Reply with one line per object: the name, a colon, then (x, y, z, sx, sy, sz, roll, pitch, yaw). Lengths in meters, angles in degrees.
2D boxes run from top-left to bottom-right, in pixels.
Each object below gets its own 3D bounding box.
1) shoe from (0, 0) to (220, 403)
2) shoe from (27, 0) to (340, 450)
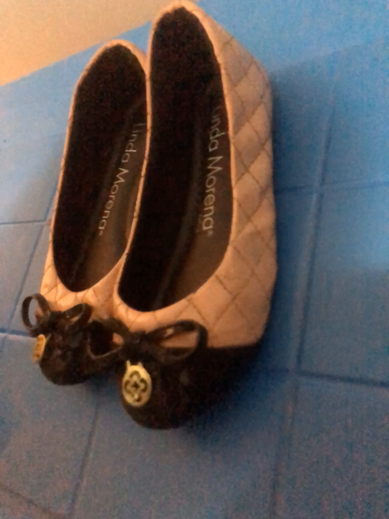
shoe: (-0.054, -0.033, 0.229, 0.070, 0.080, 0.190, 1, 71, 35)
shoe: (0.009, -0.026, 0.191, 0.070, 0.080, 0.190, 0, 70, 35)
